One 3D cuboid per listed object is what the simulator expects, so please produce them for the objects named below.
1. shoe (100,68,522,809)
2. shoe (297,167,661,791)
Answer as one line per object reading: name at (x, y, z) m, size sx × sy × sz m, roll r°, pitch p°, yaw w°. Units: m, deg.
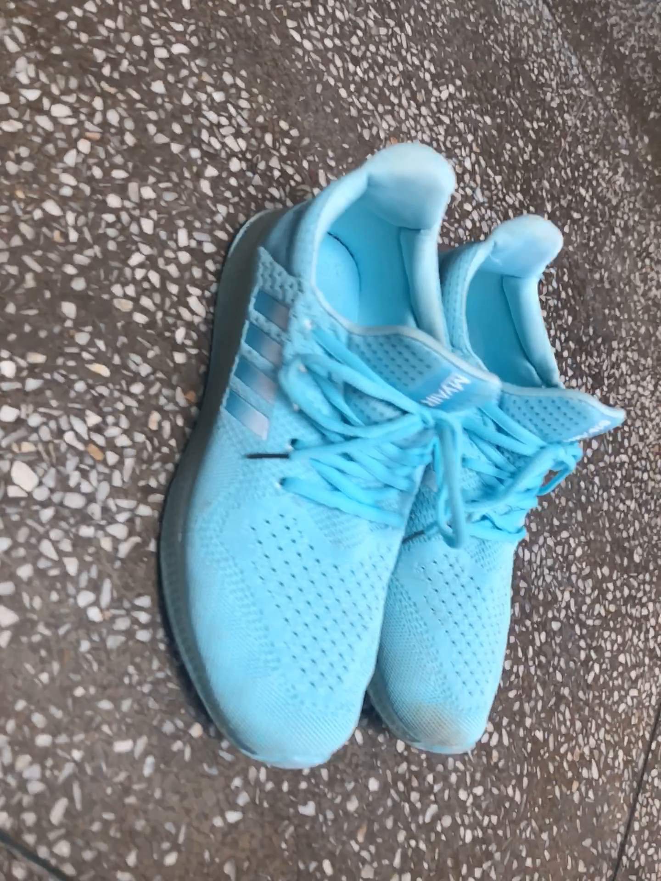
shoe at (-0.003, 0.005, 0.337) m, size 0.121 × 0.125 × 0.271 m, roll 16°, pitch 69°, yaw -34°
shoe at (0.075, 0.025, 0.391) m, size 0.121 × 0.125 × 0.271 m, roll 14°, pitch 70°, yaw -35°
